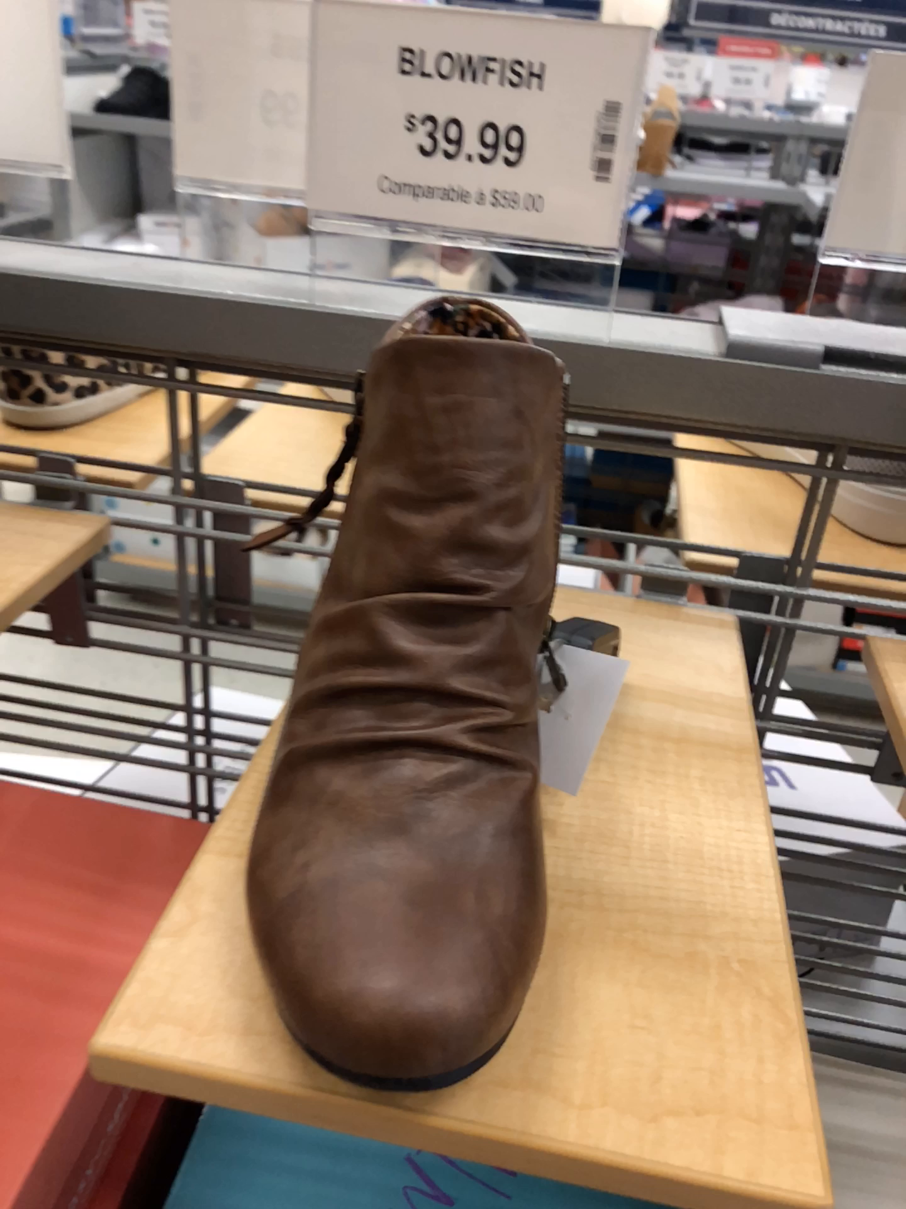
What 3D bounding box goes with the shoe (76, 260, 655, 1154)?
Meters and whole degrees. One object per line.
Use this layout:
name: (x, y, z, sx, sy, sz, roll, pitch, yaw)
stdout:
shoe: (-0.012, -0.001, 0.290, 0.090, 0.139, 0.232, 6, 29, 1)
